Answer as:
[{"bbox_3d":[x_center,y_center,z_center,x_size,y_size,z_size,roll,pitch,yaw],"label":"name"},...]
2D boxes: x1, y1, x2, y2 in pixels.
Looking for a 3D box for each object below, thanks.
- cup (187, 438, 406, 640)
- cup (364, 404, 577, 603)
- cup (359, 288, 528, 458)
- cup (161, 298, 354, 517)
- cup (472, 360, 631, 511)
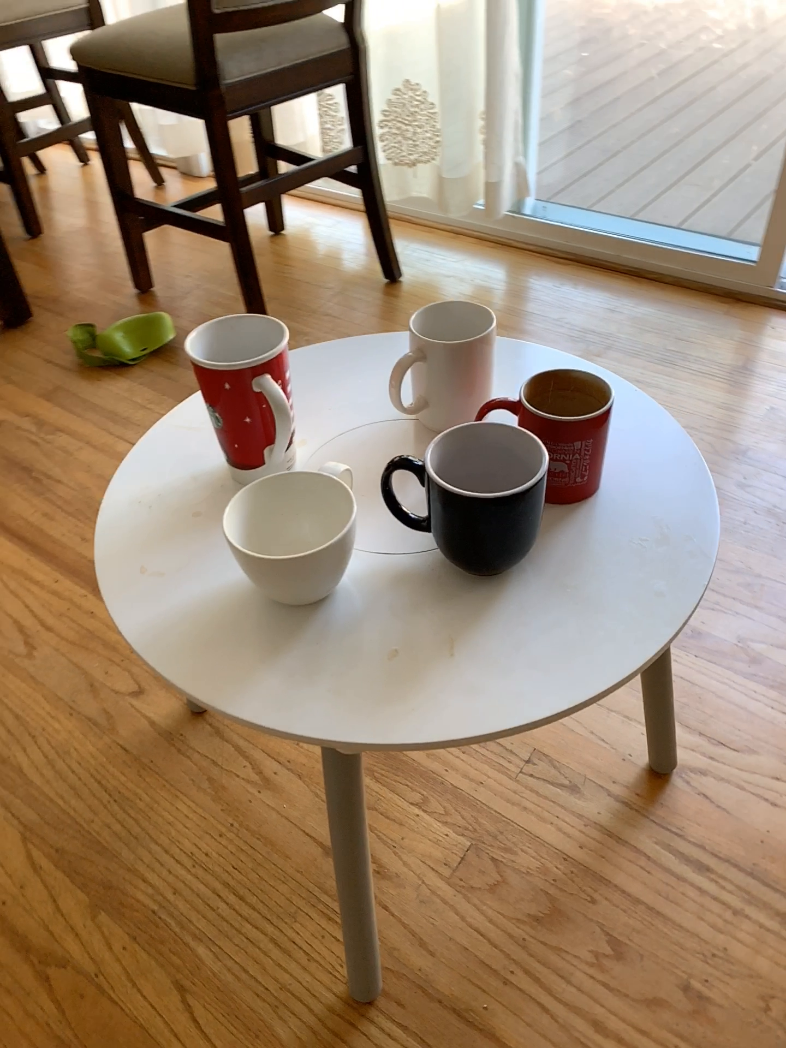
[{"bbox_3d":[-0.071,0.006,0.631,0.110,0.060,0.130,19,47,23],"label":"cup"},{"bbox_3d":[0.061,-0.020,0.633,0.130,0.080,0.100,19,47,23],"label":"cup"},{"bbox_3d":[0.048,-0.147,0.765,0.100,0.090,0.120,32,53,33],"label":"cup"},{"bbox_3d":[-0.121,-0.109,0.737,0.100,0.129,0.131,-32,50,-27],"label":"cup"},{"bbox_3d":[0.133,-0.078,0.708,0.120,0.100,0.080,-2,43,2],"label":"cup"}]
